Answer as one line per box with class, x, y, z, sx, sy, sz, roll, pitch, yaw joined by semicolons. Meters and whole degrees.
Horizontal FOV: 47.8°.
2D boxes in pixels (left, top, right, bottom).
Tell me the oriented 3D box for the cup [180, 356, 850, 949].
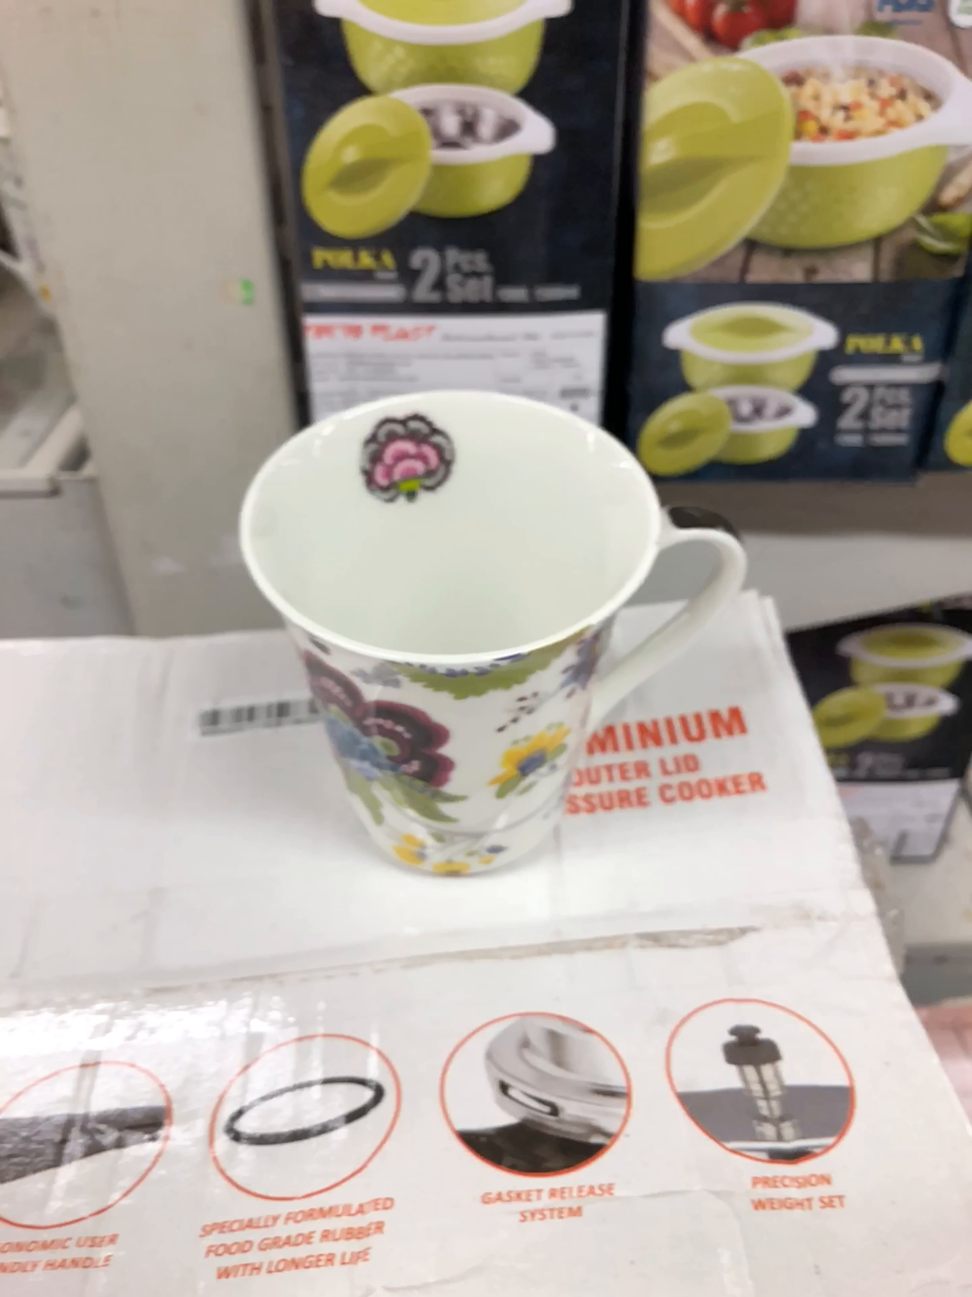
cup;0.000;-0.001;0.258;0.120;0.089;0.080;-10;48;-12
